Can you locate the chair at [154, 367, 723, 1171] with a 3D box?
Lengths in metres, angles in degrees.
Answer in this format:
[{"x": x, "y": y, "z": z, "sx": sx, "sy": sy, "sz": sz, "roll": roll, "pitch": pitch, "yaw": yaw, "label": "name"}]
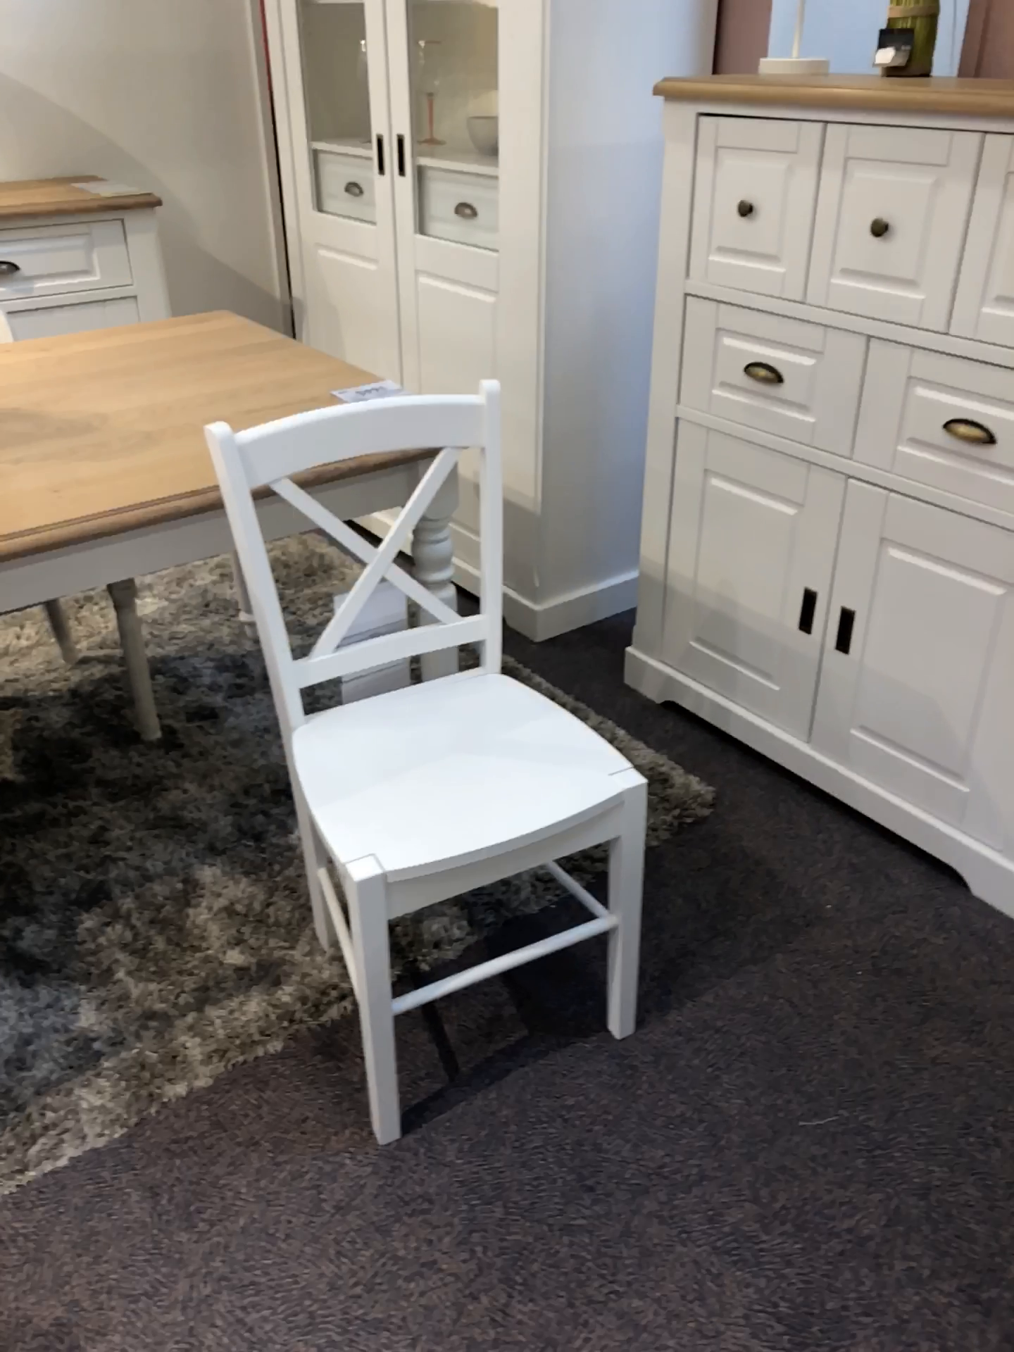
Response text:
[{"x": -0.089, "y": 0.088, "z": 1.404, "sx": 0.461, "sy": 0.785, "sz": 0.461, "roll": -17, "pitch": 33, "yaw": -26, "label": "chair"}]
